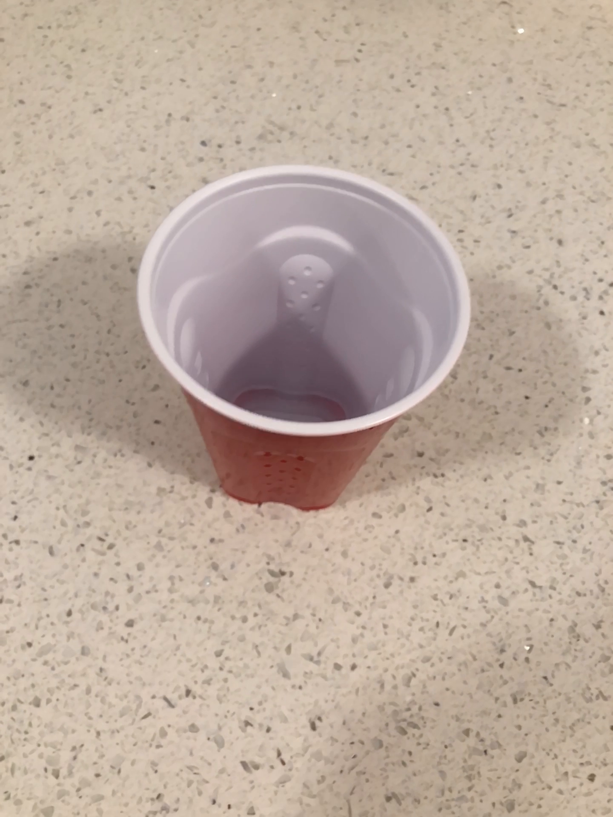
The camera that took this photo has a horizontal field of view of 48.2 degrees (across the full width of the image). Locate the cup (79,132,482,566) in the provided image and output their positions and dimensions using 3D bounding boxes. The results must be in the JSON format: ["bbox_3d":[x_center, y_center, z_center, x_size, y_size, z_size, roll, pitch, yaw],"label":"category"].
[{"bbox_3d":[-0.004,-0.015,0.236,0.100,0.093,0.102,2,62,-4],"label":"cup"}]
